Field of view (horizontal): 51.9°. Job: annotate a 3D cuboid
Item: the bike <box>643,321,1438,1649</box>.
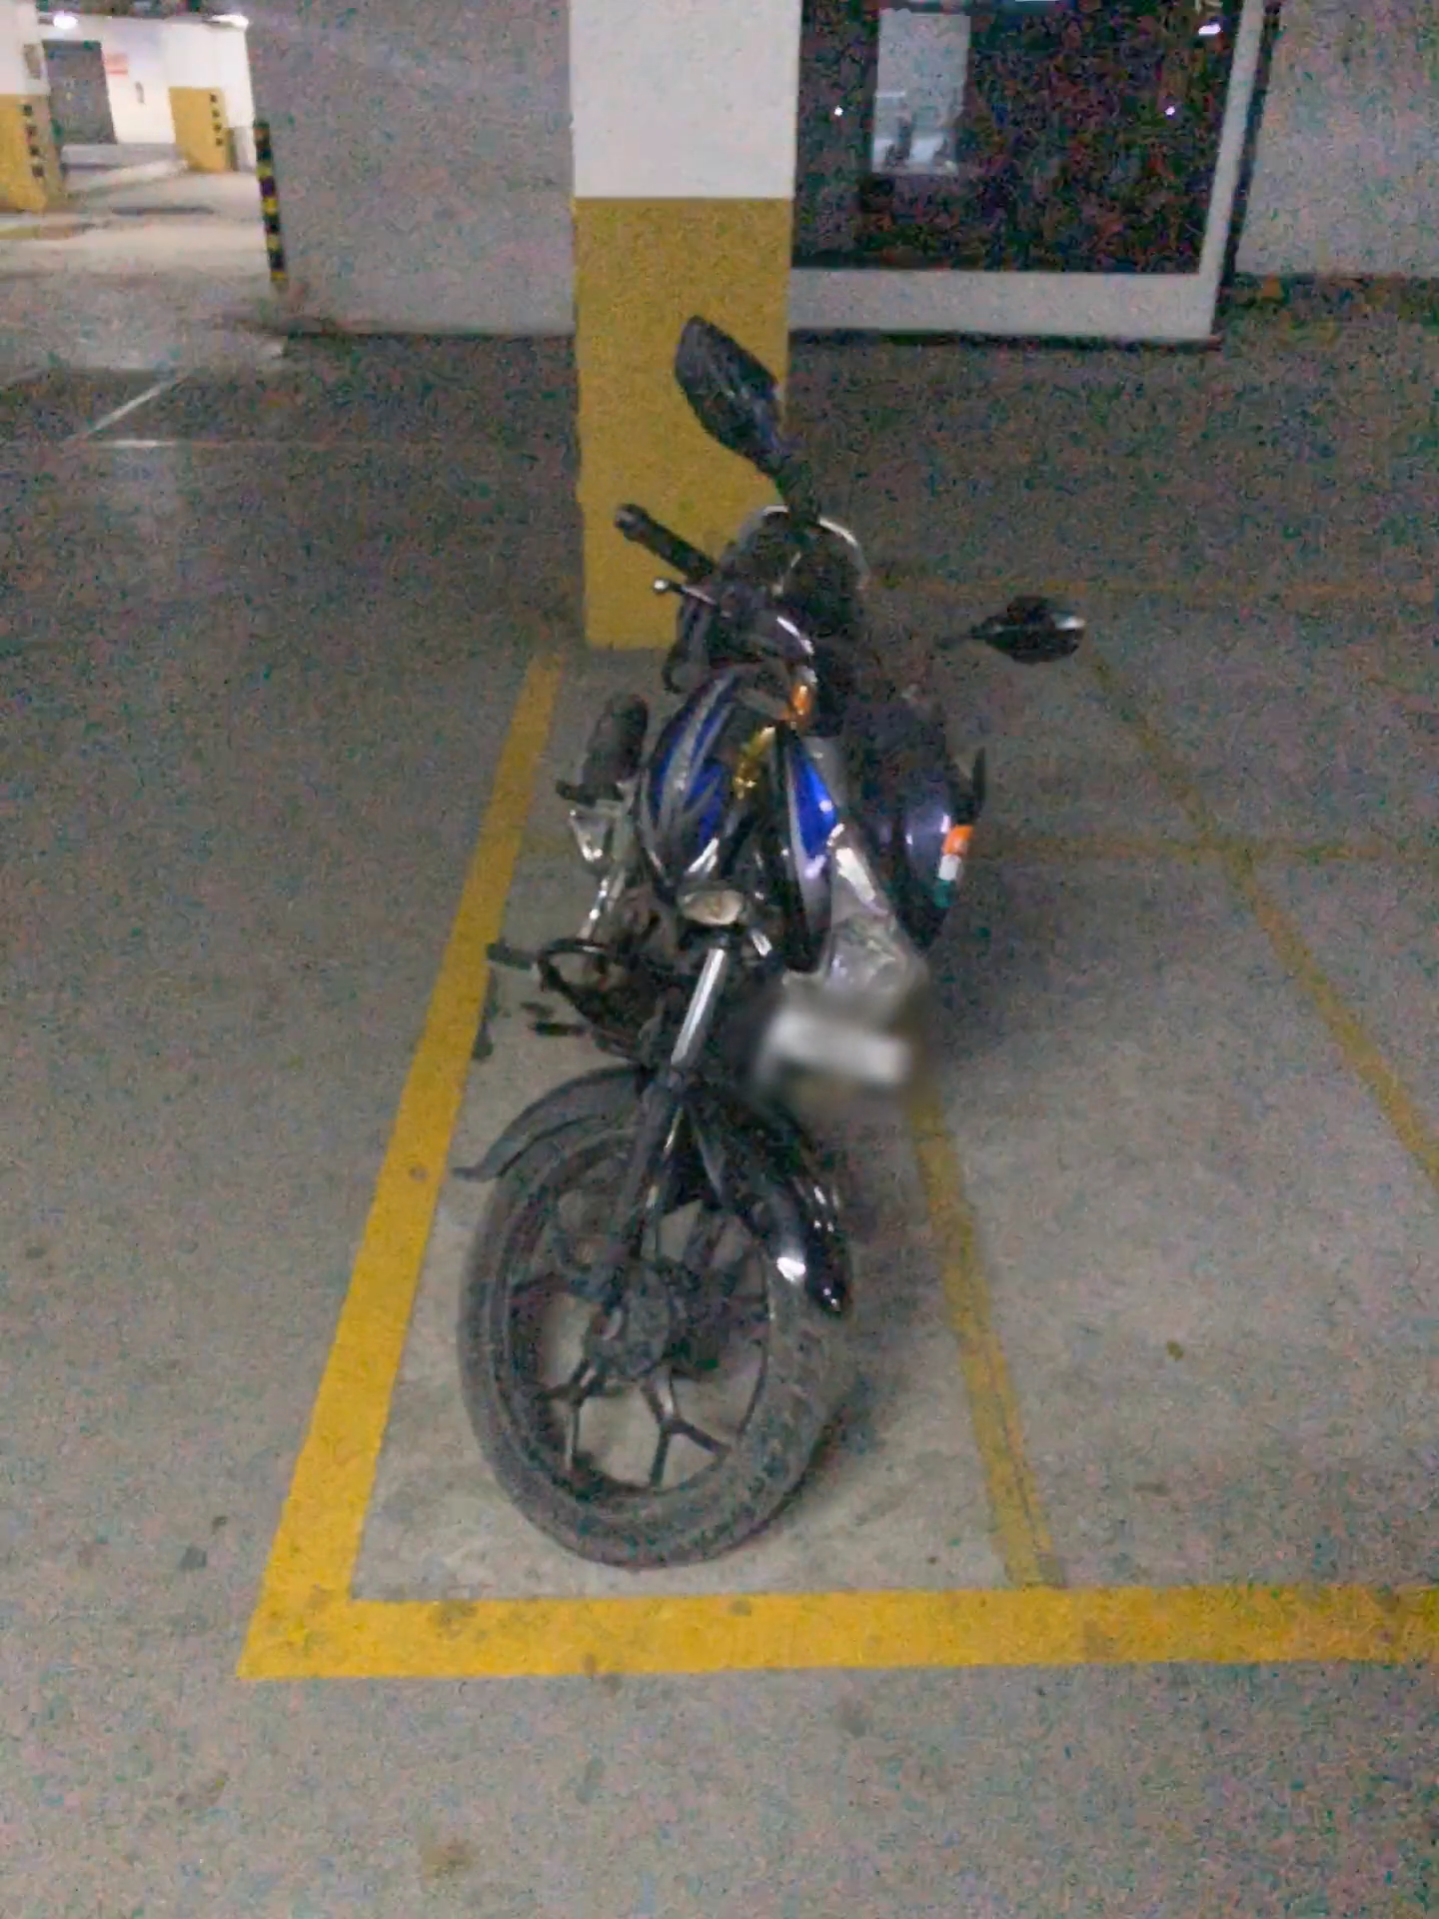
[{"bbox_3d":[0.347,-0.255,2.430,0.850,1.205,2.223,-1,30,-4],"label":"bike"}]
